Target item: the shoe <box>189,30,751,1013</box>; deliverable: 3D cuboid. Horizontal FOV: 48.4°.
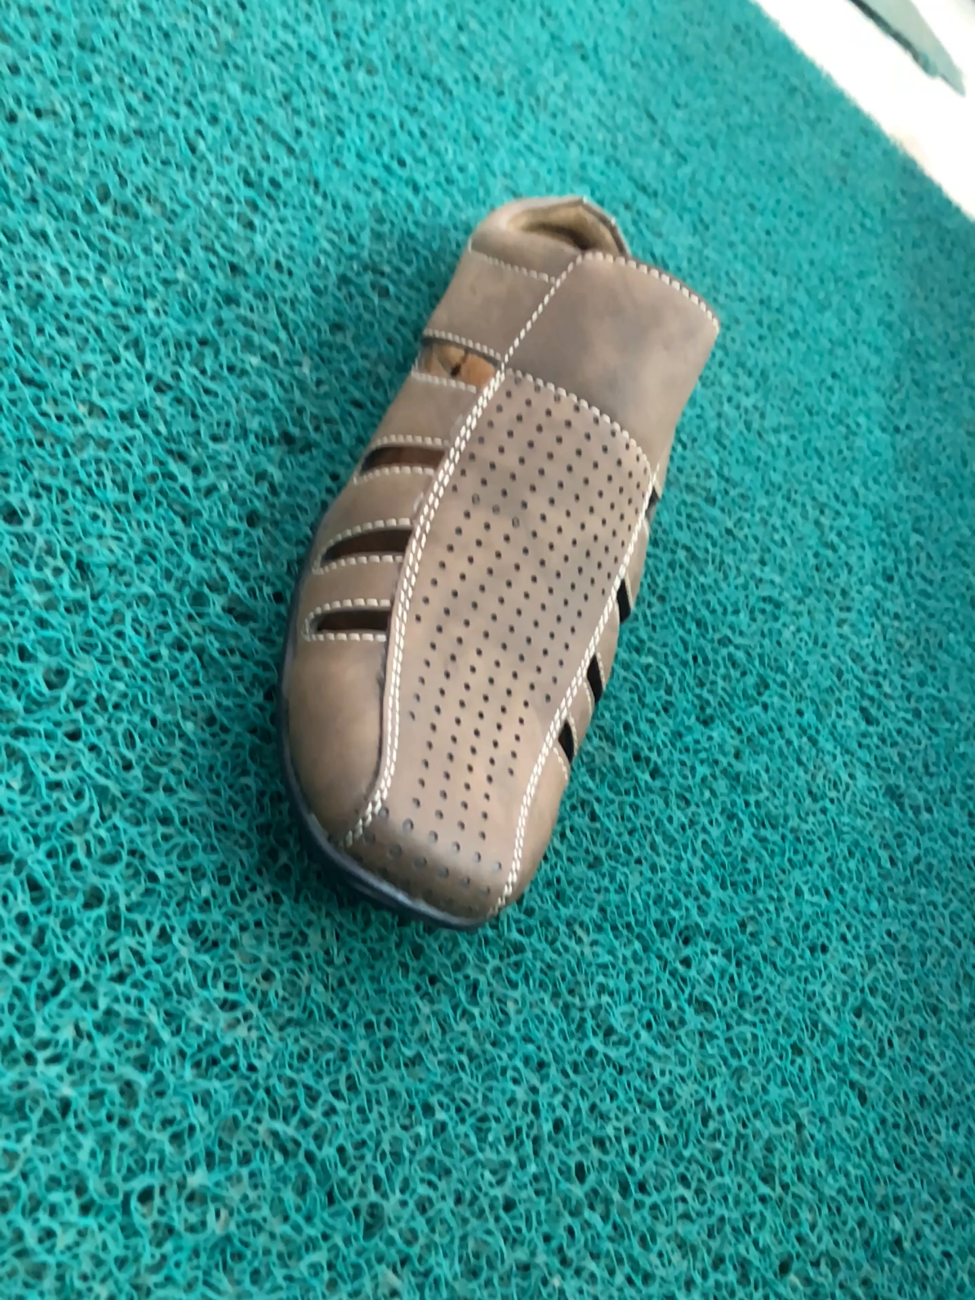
[{"bbox_3d":[0.016,-0.058,0.316,0.090,0.070,0.291,30,49,-22],"label":"shoe"}]
